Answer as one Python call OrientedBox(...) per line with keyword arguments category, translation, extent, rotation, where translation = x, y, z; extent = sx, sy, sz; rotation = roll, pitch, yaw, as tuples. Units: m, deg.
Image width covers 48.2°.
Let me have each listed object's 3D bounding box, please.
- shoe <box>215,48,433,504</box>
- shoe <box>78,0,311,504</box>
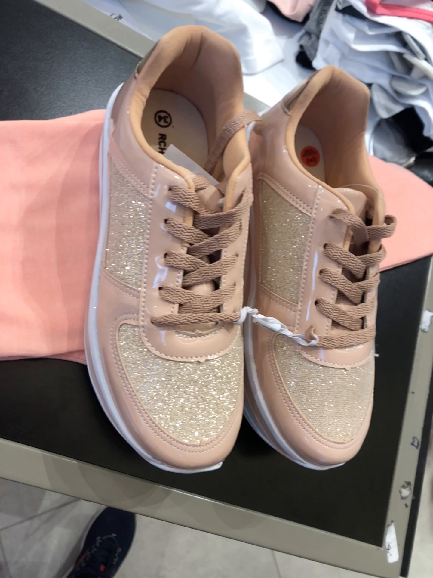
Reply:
OrientedBox(category="shoe", translation=(0.064, -0.007, 0.286), extent=(0.090, 0.090, 0.220), rotation=(0, 79, -21))
OrientedBox(category="shoe", translation=(-0.024, -0.018, 0.264), extent=(0.090, 0.100, 0.220), rotation=(0, 79, -21))
